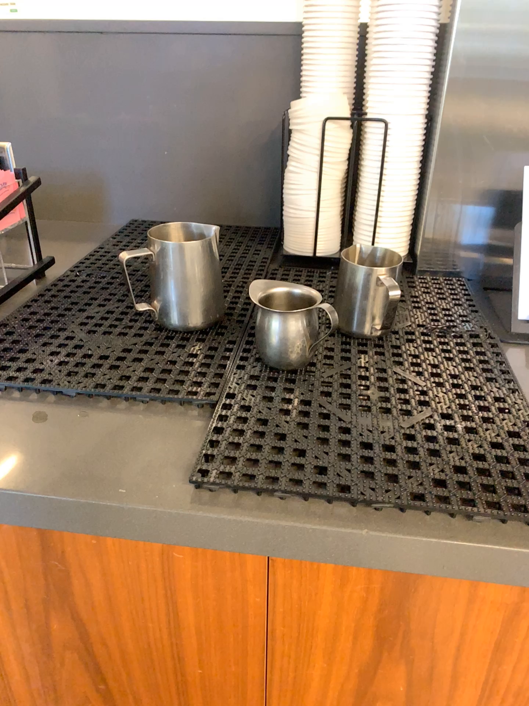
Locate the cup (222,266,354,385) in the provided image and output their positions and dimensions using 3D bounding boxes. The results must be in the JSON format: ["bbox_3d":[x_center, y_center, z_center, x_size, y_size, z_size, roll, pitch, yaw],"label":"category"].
[{"bbox_3d":[0.021,-0.031,0.545,0.110,0.070,0.070,25,36,36],"label":"cup"}]

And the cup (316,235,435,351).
[{"bbox_3d":[0.116,-0.071,0.607,0.080,0.080,0.131,-5,29,-10],"label":"cup"}]

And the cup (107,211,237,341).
[{"bbox_3d":[-0.102,-0.091,0.620,0.120,0.109,0.070,-18,34,-30],"label":"cup"}]
